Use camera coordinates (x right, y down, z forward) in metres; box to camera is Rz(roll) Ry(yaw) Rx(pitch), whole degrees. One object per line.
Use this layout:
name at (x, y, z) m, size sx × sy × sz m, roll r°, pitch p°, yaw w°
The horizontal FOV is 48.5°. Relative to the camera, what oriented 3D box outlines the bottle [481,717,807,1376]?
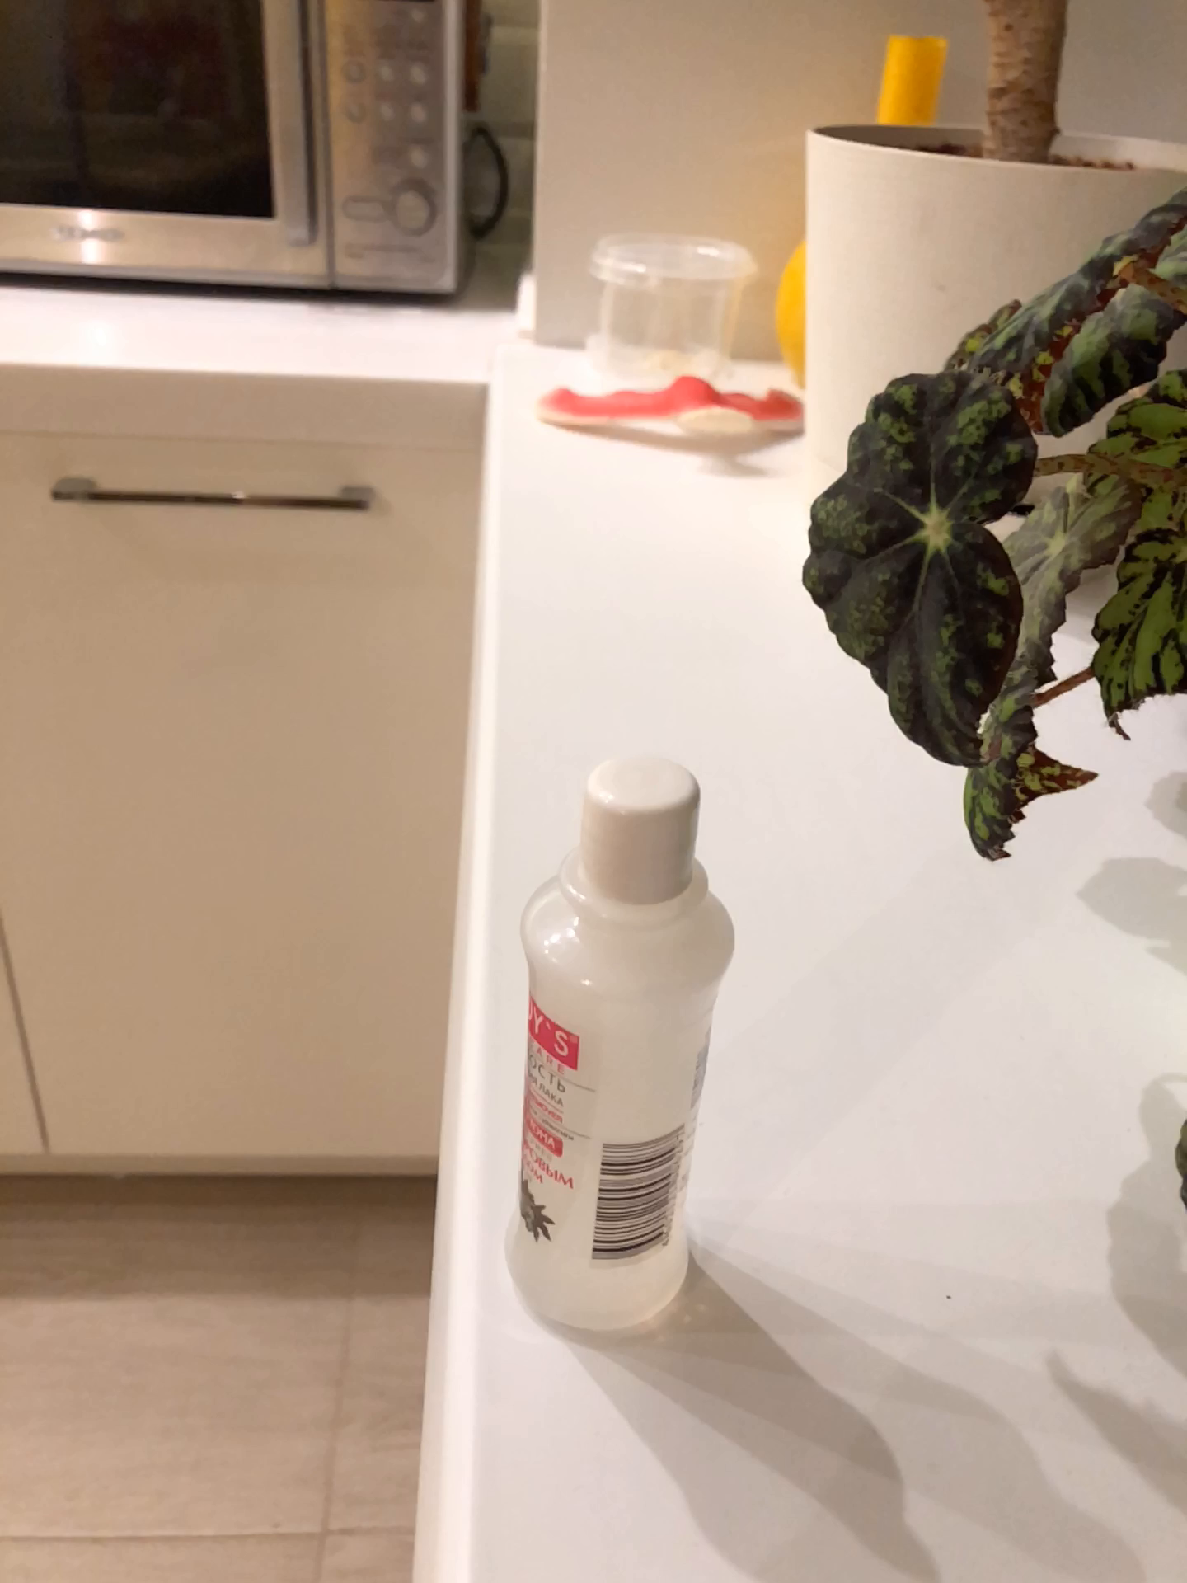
bottle at (0.004, 0.045, 0.223) m, size 0.036 × 0.105 × 0.037 m, roll 3°, pitch 30°, yaw -2°
